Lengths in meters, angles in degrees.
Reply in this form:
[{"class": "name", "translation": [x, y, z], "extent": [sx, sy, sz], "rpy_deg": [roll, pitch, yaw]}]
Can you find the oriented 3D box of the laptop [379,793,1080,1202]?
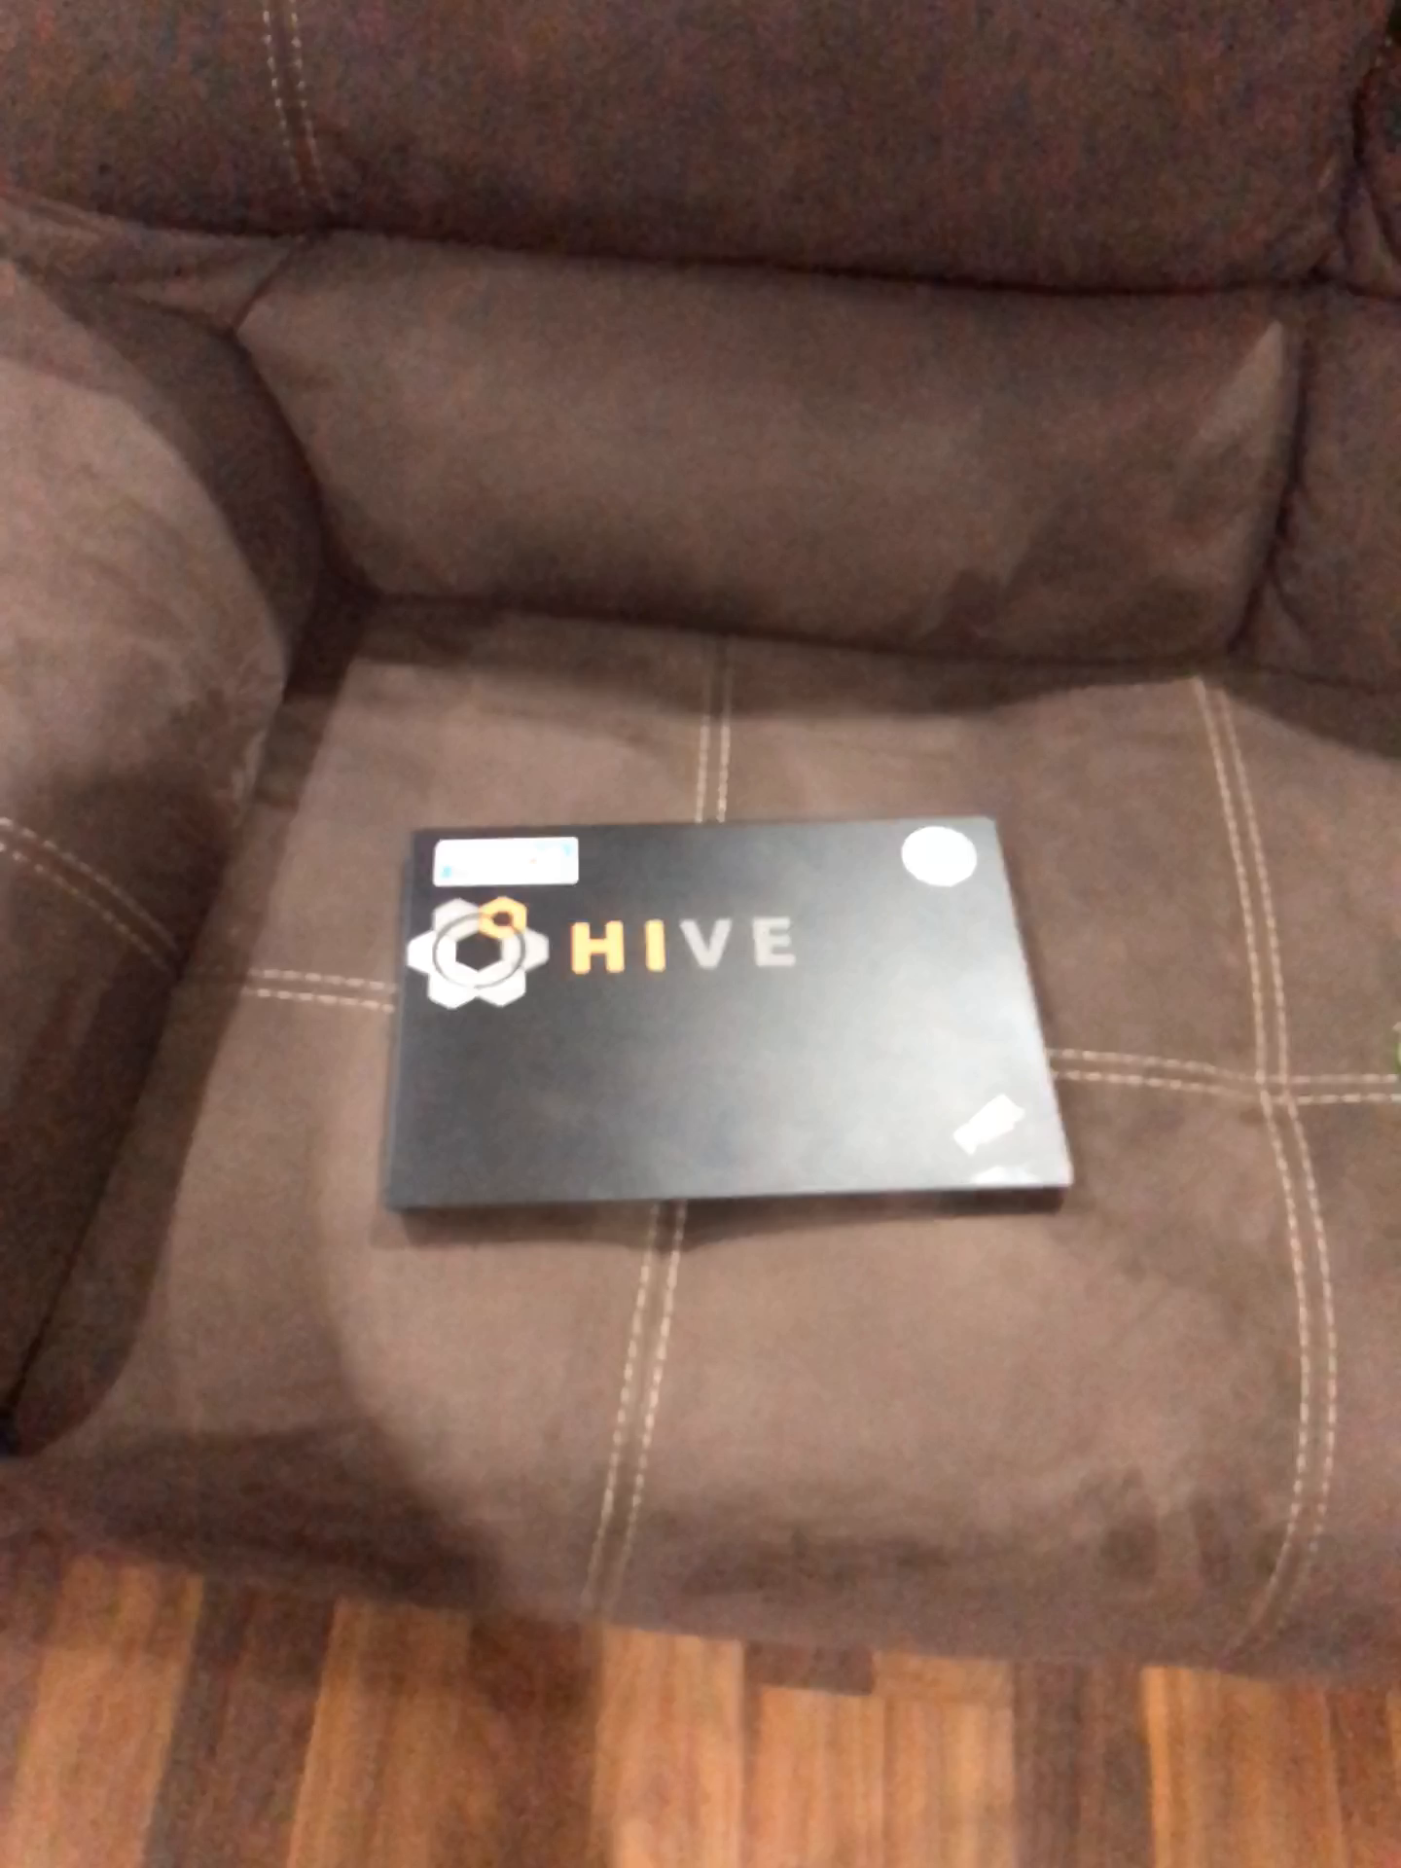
[{"class": "laptop", "translation": [0.009, 0.024, 0.807], "extent": [0.328, 0.019, 0.236], "rpy_deg": [-2, 53, -1]}]
